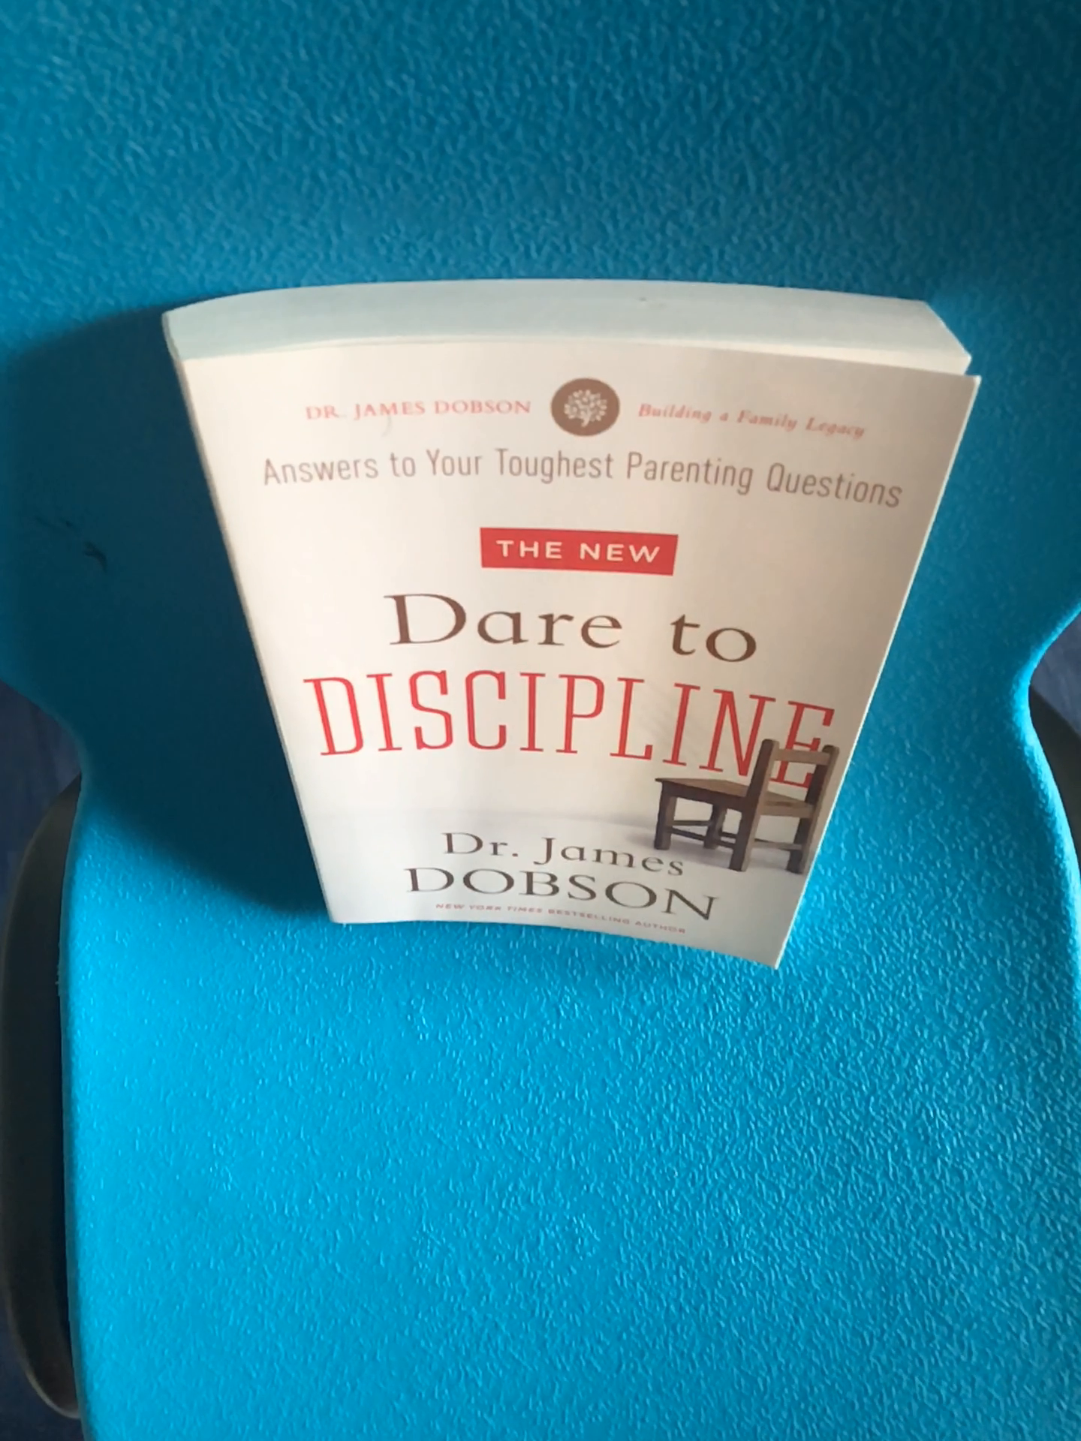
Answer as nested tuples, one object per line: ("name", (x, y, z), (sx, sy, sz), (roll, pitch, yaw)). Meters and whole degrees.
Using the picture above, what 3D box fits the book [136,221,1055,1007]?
("book", (0.007, -0.006, 0.281), (0.150, 0.200, 0.040), (4, 48, 2))
